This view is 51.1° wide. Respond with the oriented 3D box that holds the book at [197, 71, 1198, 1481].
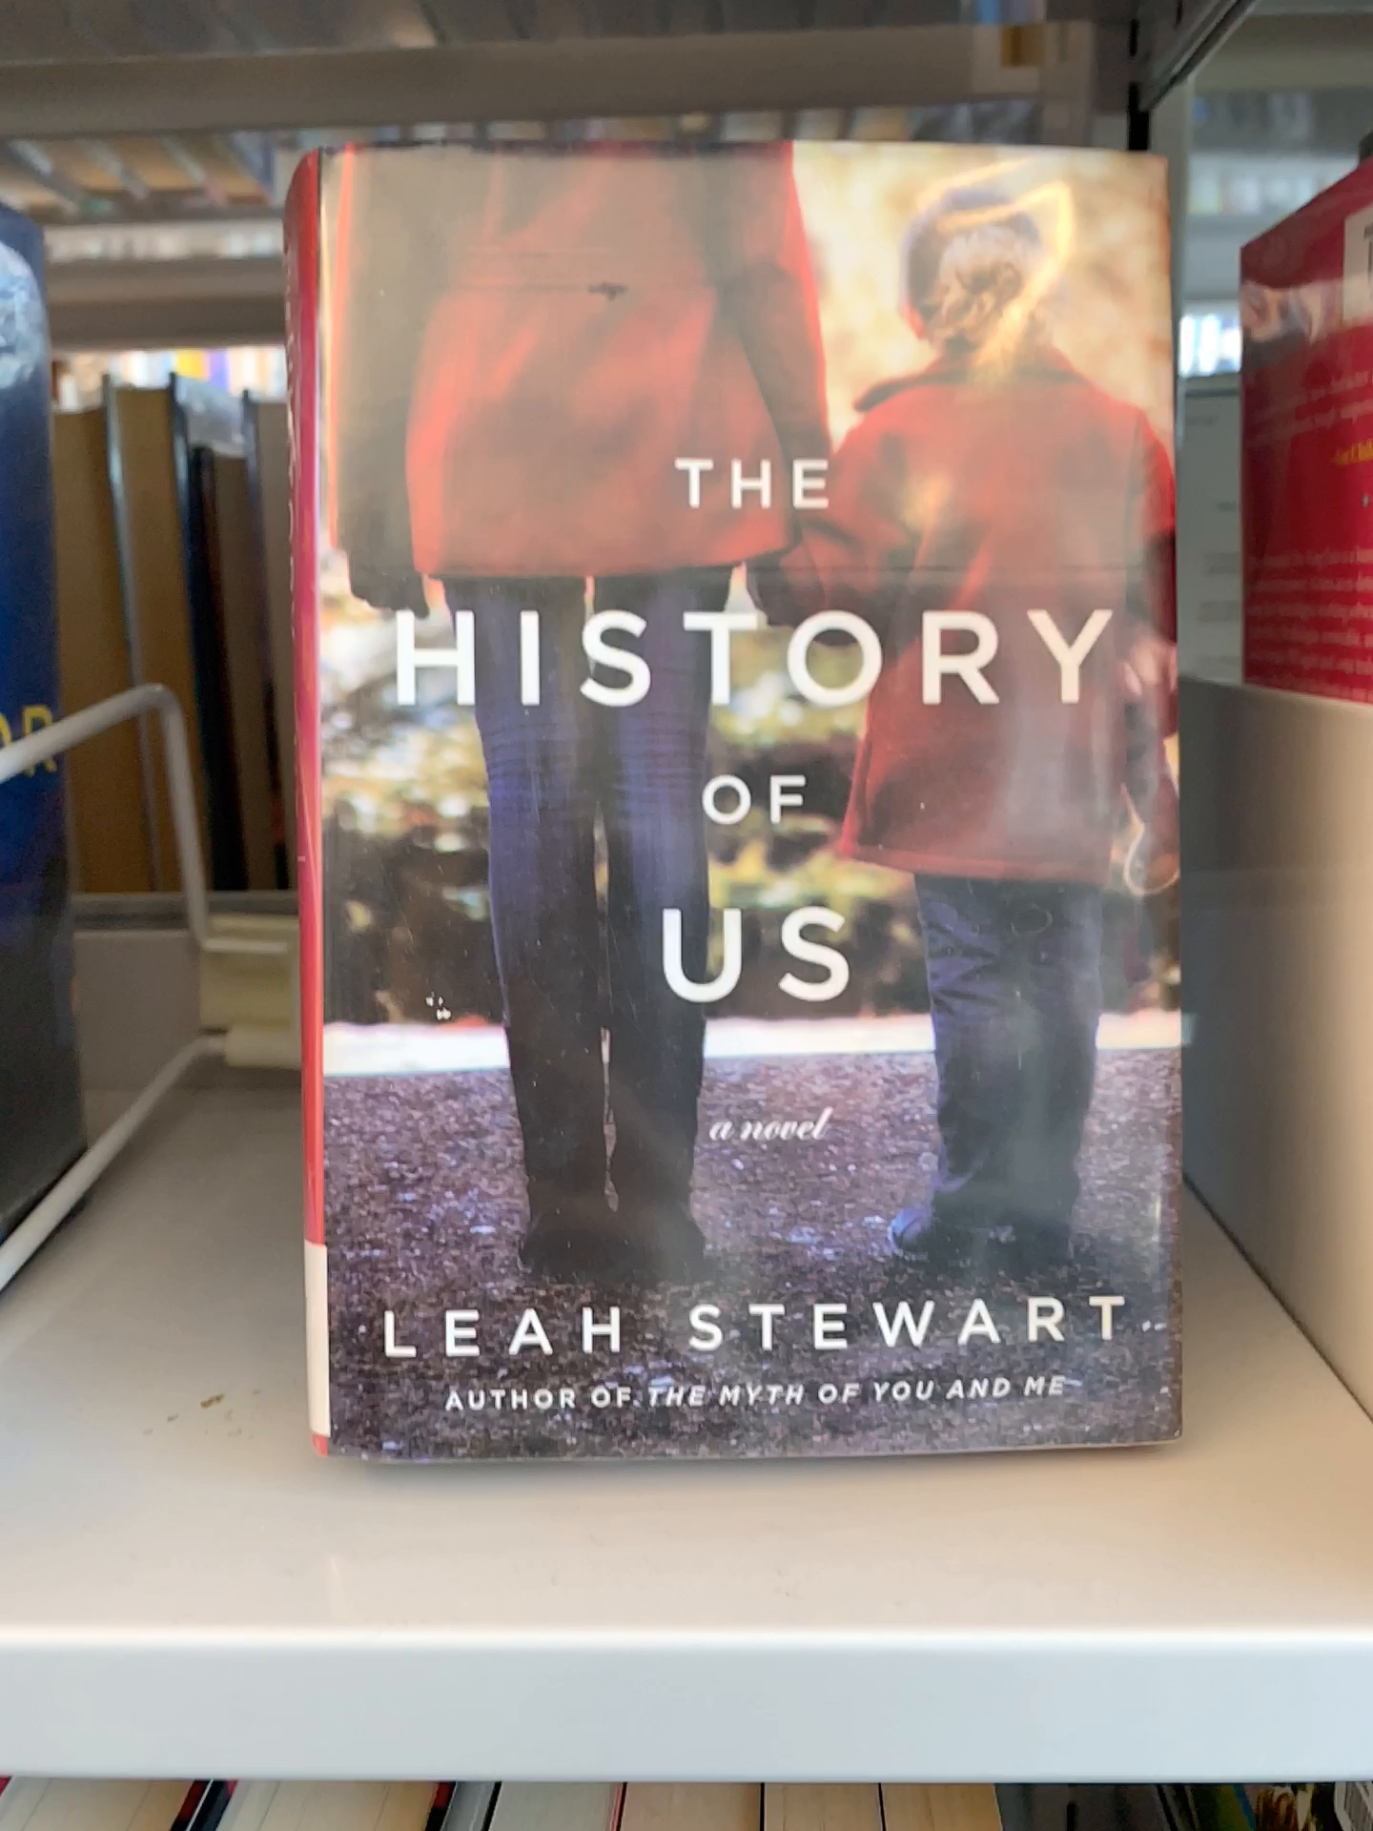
[{"bbox_3d":[0.003,-0.021,0.250,0.153,0.220,0.040,-2,2,1],"label":"book"}]
